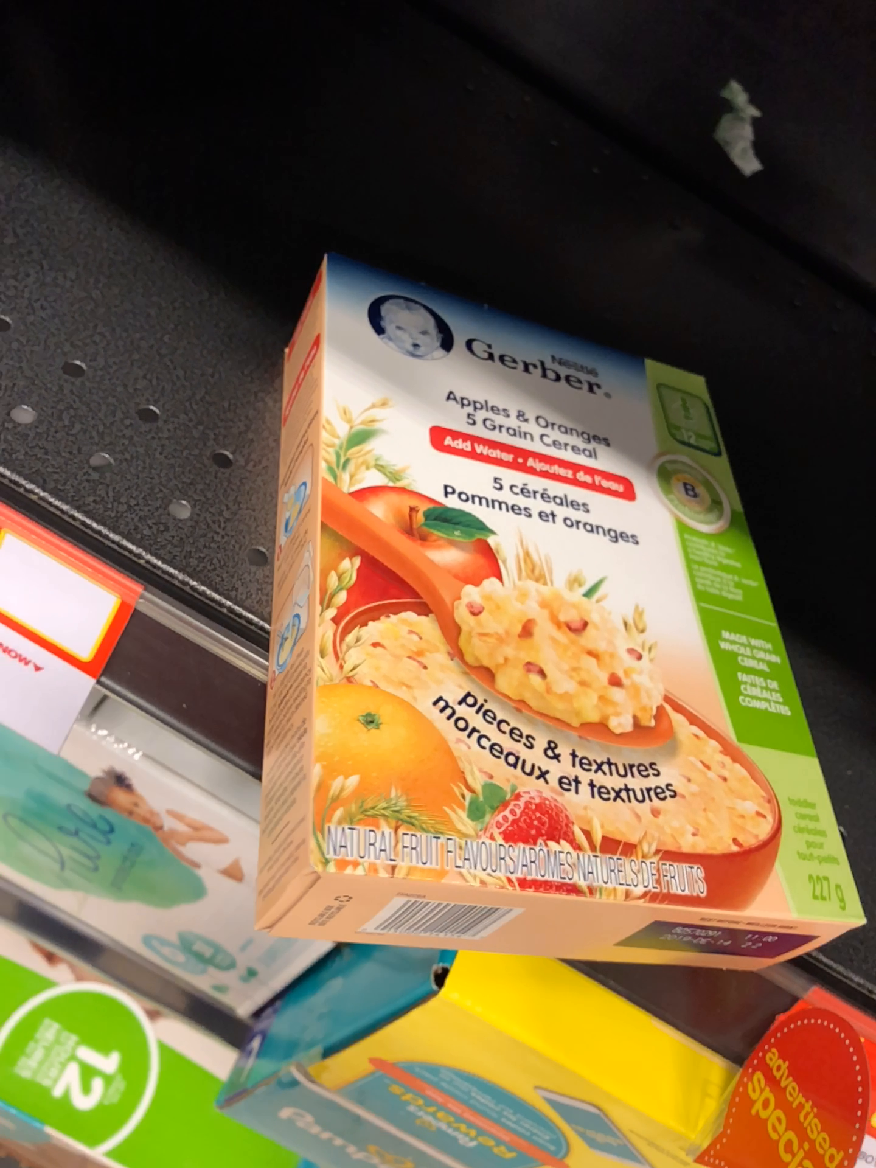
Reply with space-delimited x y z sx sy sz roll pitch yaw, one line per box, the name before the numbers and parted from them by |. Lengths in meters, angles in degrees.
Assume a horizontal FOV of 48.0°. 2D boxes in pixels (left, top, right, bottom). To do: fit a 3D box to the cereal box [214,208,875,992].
cereal box | 0.024 -0.001 0.288 0.150 0.050 0.210 13 52 -21
